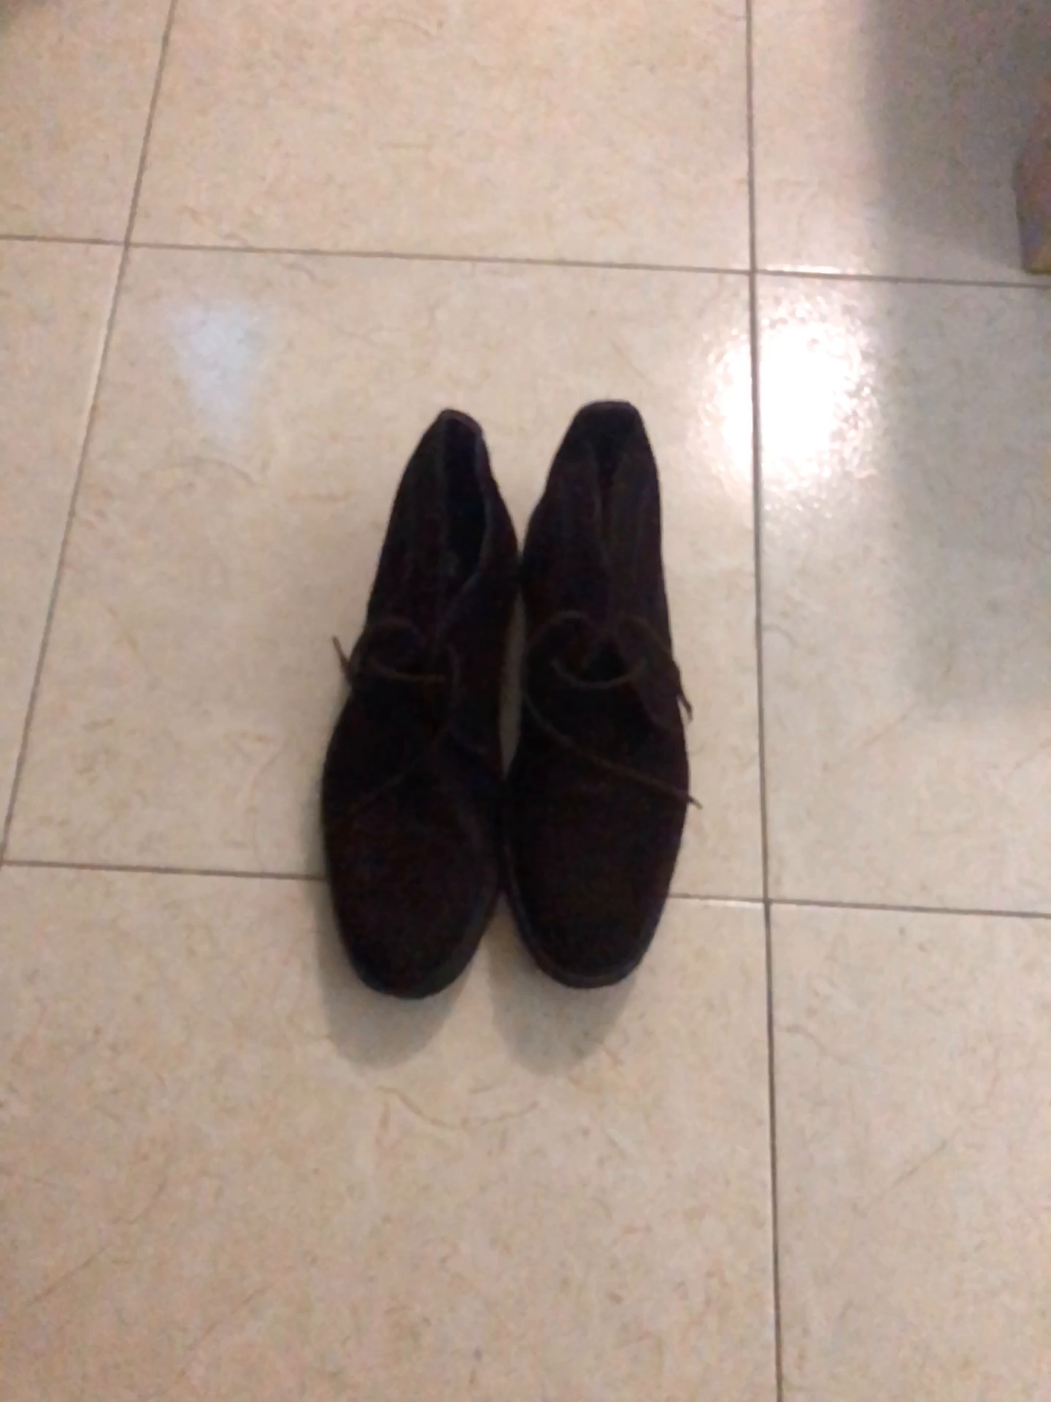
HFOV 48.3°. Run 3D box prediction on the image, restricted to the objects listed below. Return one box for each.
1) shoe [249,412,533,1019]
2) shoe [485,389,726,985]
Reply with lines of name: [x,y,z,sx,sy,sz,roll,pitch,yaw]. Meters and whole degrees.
shoe: [-0.062,0.010,0.643,0.110,0.130,0.300,4,70,1]
shoe: [0.045,-0.004,0.663,0.110,0.140,0.300,4,70,1]
